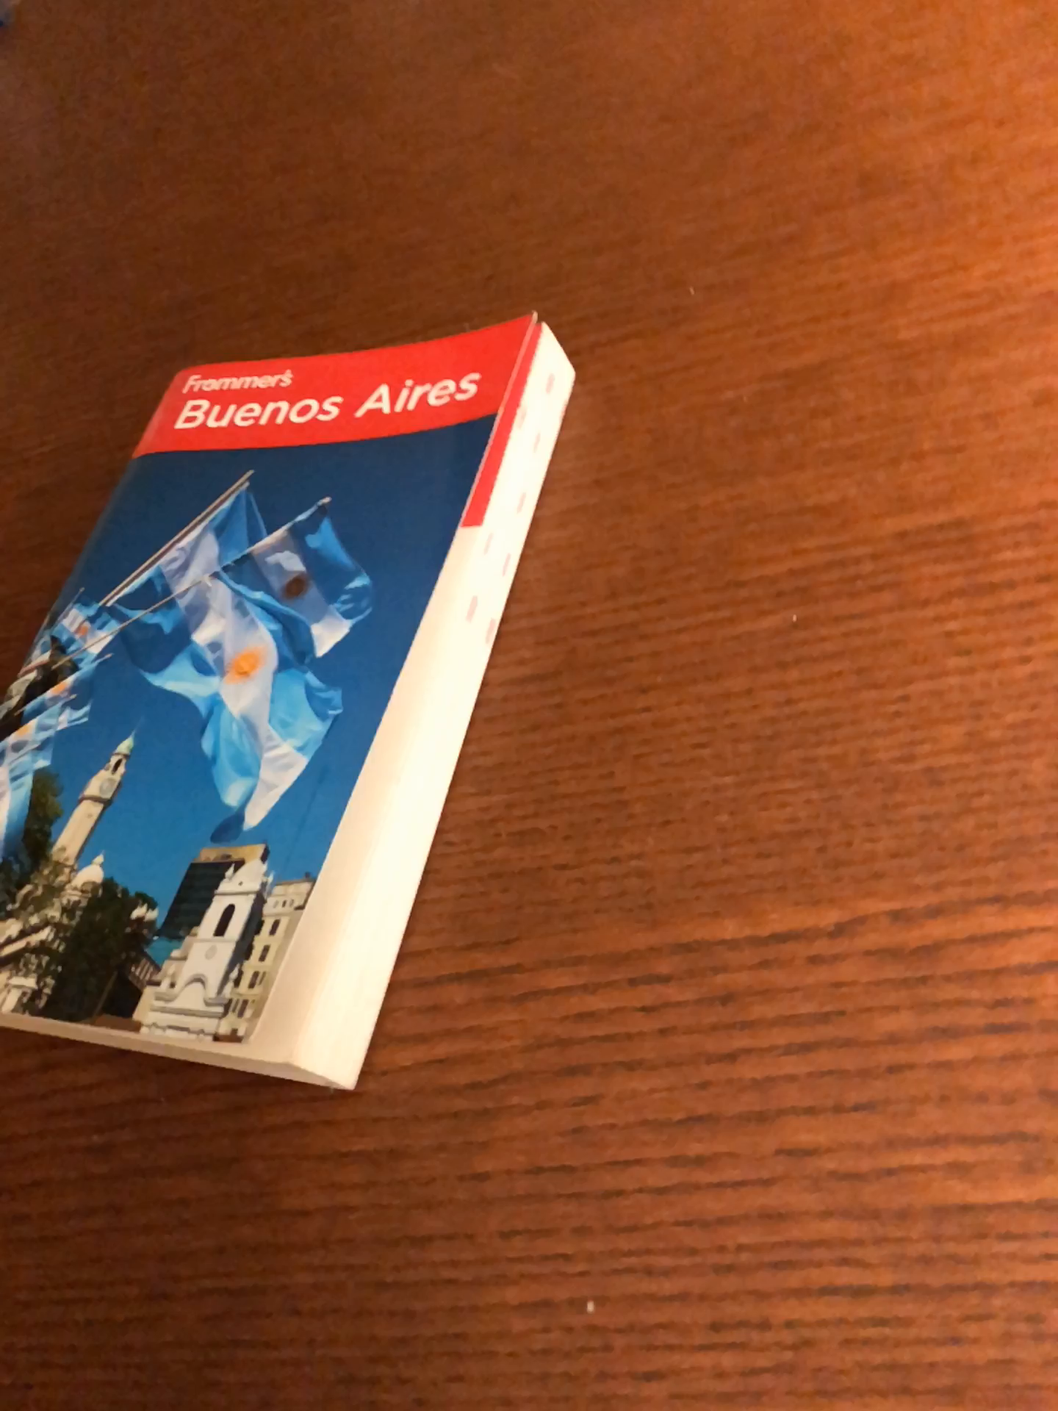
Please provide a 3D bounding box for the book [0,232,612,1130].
[{"bbox_3d":[-0.078,-0.023,0.287,0.160,0.020,0.221,0,57,24],"label":"book"}]
